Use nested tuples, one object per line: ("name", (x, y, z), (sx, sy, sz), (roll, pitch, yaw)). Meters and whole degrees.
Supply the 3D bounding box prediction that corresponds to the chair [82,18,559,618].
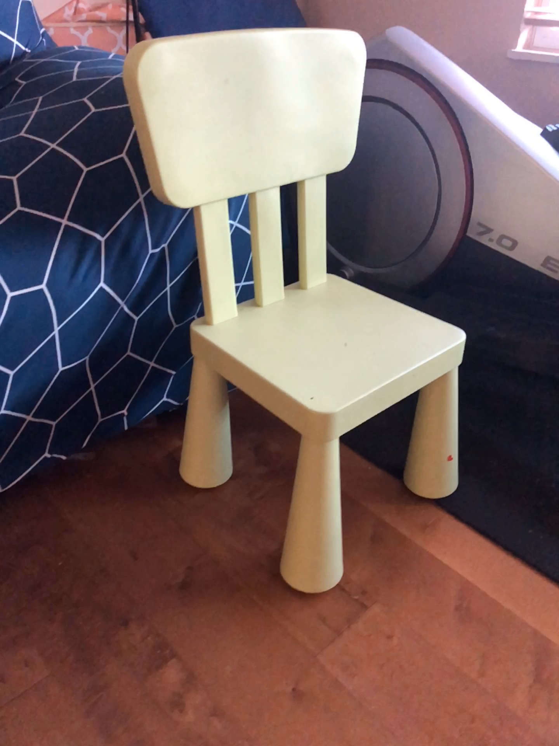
("chair", (0.052, -0.112, 0.843), (0.391, 0.636, 0.412), (-26, 42, -37))
